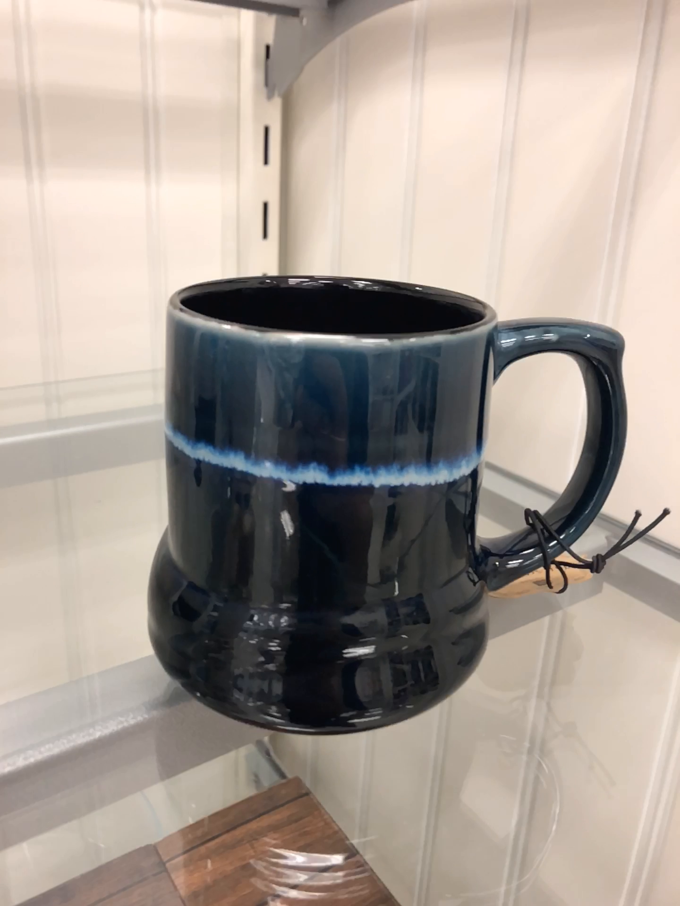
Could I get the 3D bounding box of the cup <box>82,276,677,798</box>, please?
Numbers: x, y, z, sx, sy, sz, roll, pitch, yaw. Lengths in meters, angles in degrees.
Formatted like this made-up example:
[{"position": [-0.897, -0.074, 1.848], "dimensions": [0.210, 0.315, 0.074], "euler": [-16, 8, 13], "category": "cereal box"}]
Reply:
[{"position": [0.000, 0.010, 0.232], "dimensions": [0.140, 0.109, 0.101], "euler": [-4, 22, -19], "category": "cup"}]
